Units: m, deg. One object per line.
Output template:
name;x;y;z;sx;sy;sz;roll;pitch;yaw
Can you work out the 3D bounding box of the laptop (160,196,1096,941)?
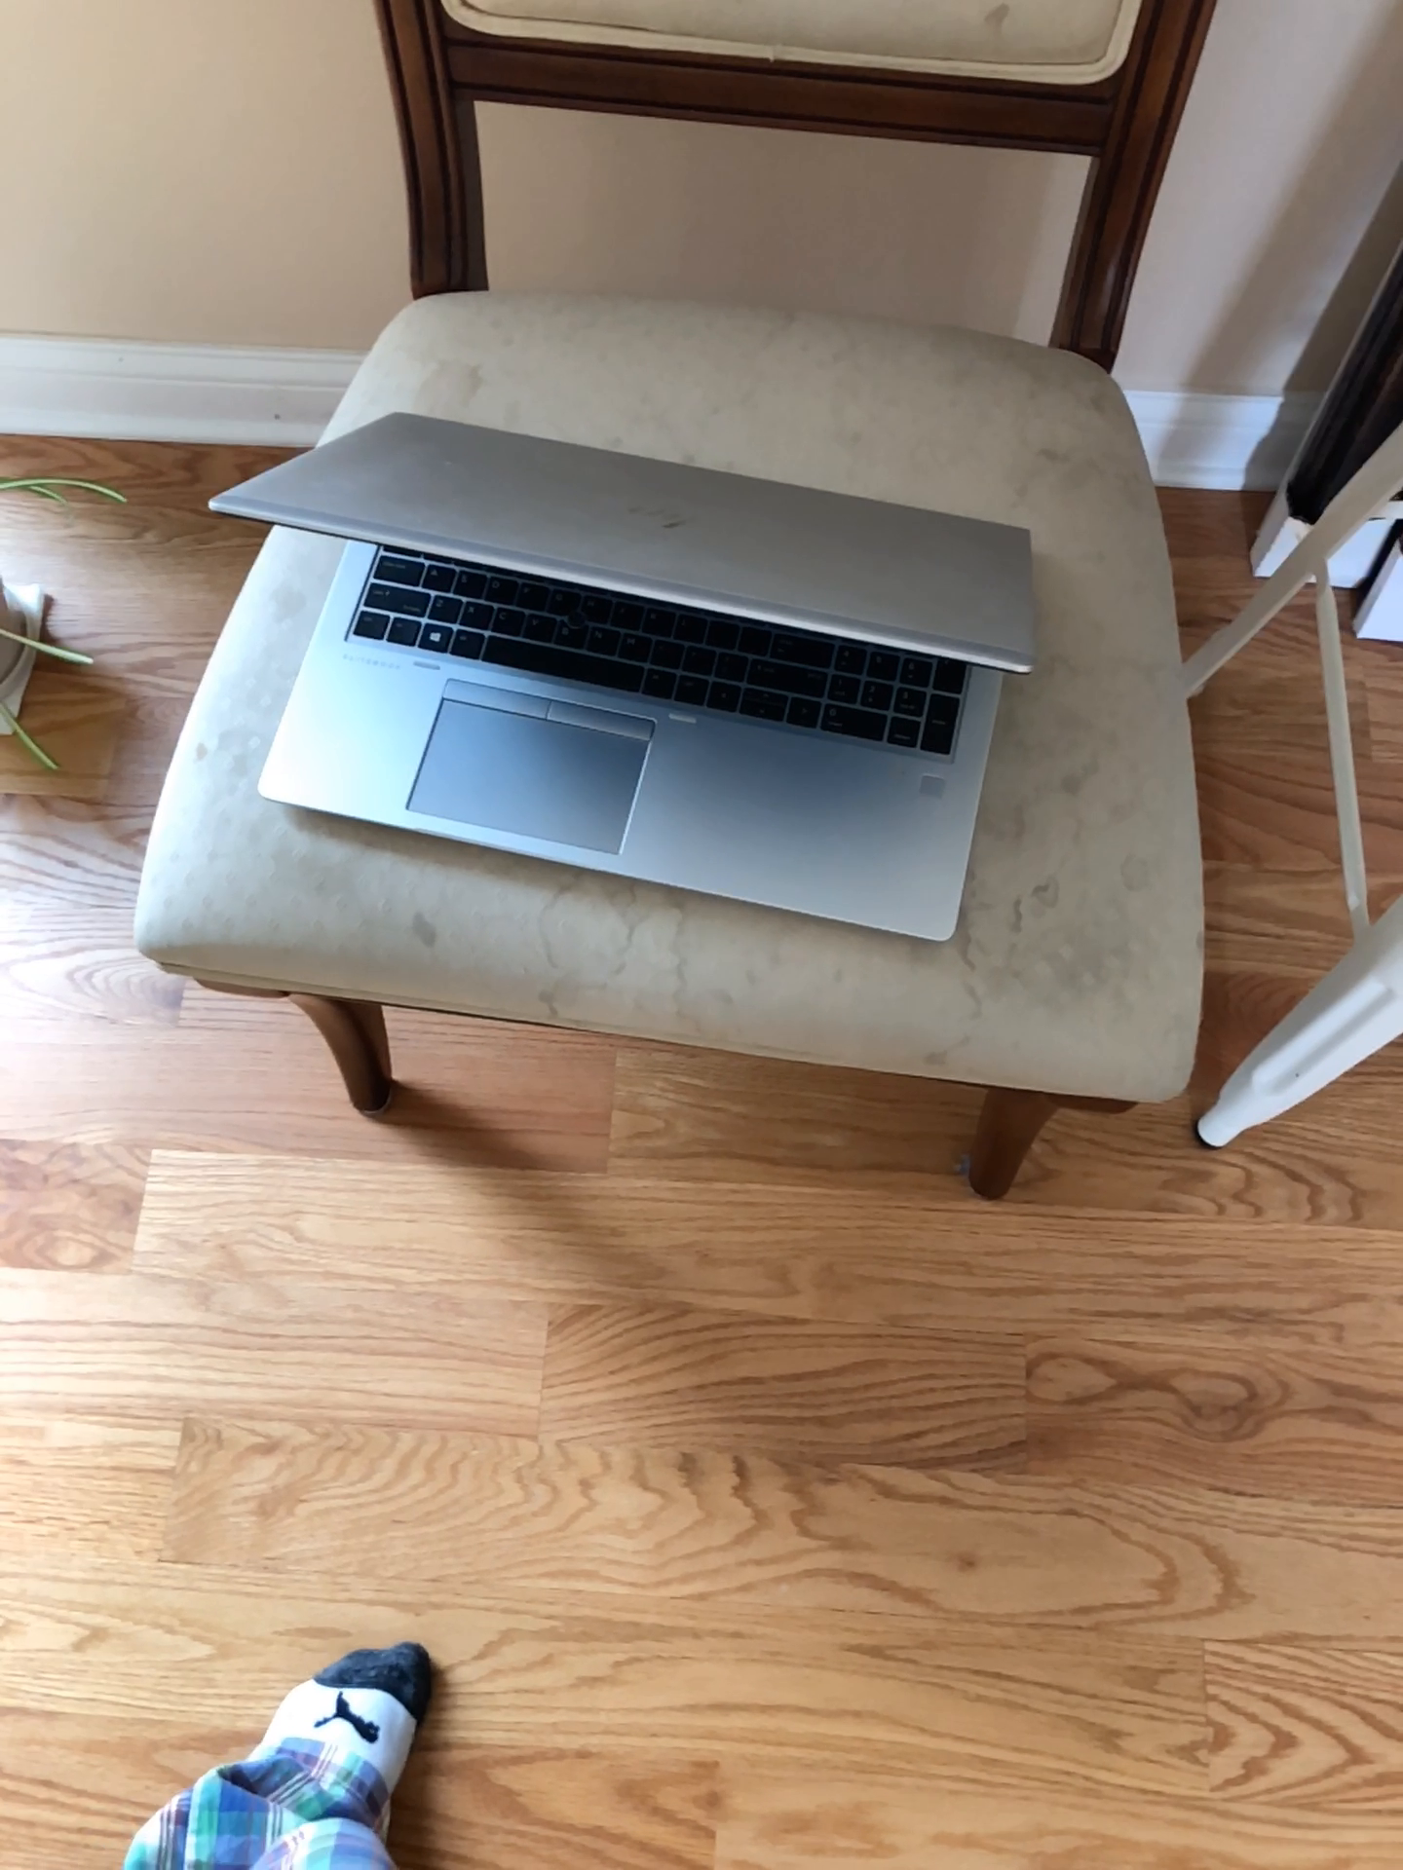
laptop;-0.024;-0.175;0.754;0.365;0.159;0.244;12;70;5
